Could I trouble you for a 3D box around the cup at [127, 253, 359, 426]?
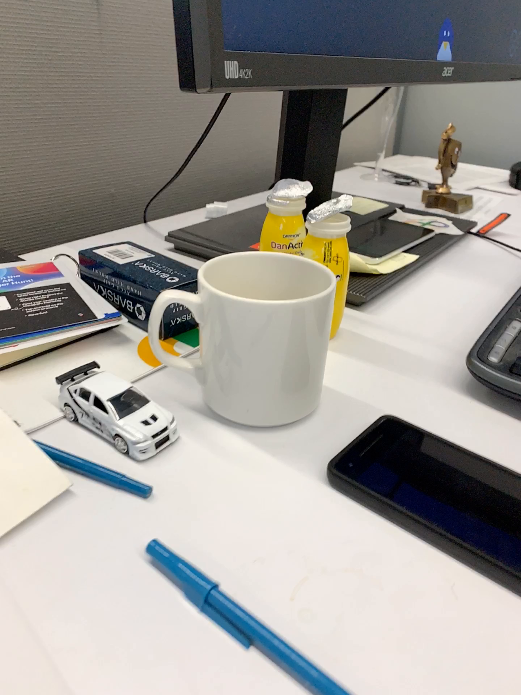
[{"bbox_3d":[-0.013,-0.007,0.327,0.120,0.080,0.070,0,28,-6],"label":"cup"}]
